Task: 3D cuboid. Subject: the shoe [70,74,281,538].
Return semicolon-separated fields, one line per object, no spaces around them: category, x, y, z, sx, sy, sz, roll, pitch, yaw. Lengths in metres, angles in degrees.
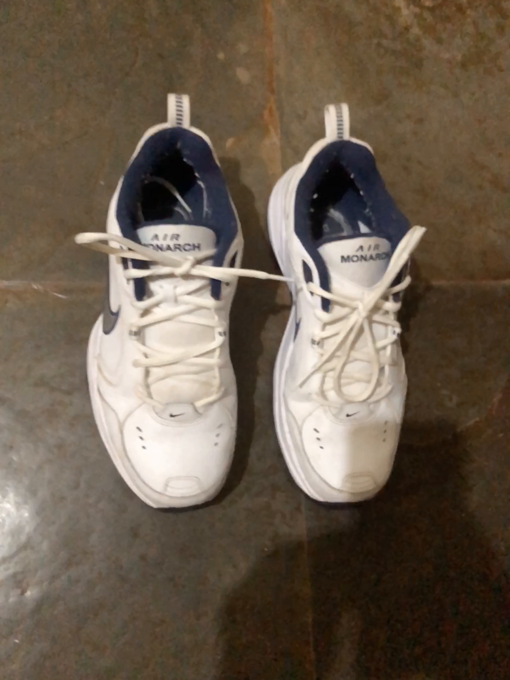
shoe;-0.068;-0.021;0.435;0.120;0.150;0.301;-2;77;-11

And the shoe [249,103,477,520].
shoe;0.071;-0.016;0.475;0.120;0.150;0.301;0;77;-10
